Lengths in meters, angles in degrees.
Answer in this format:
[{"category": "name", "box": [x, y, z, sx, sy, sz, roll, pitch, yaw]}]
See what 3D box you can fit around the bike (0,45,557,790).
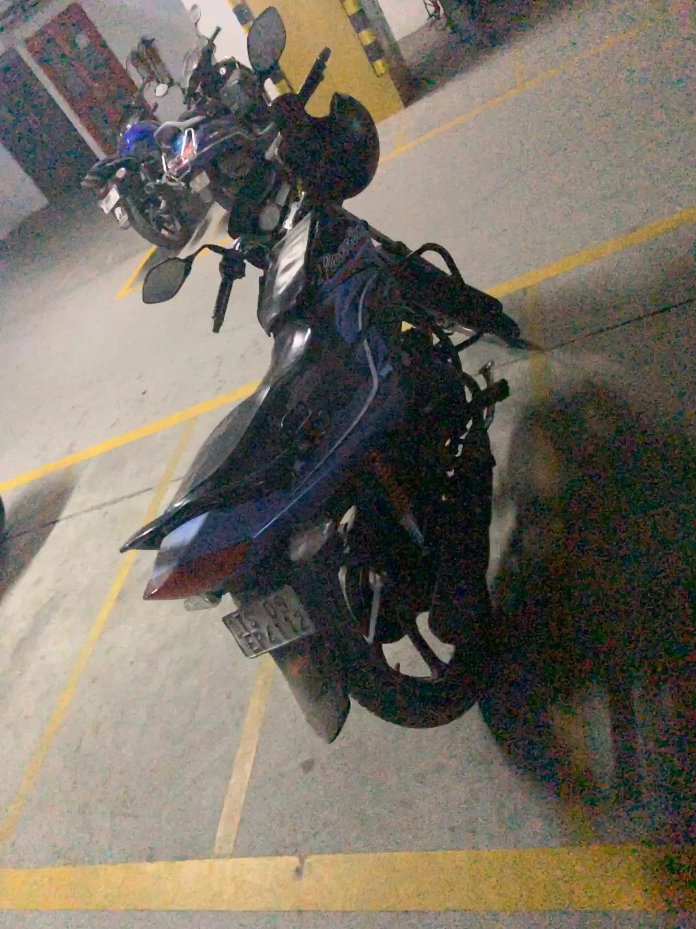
[{"category": "bike", "box": [-0.163, -0.226, 1.930, 0.781, 1.107, 1.708, -22, 35, 21]}]
